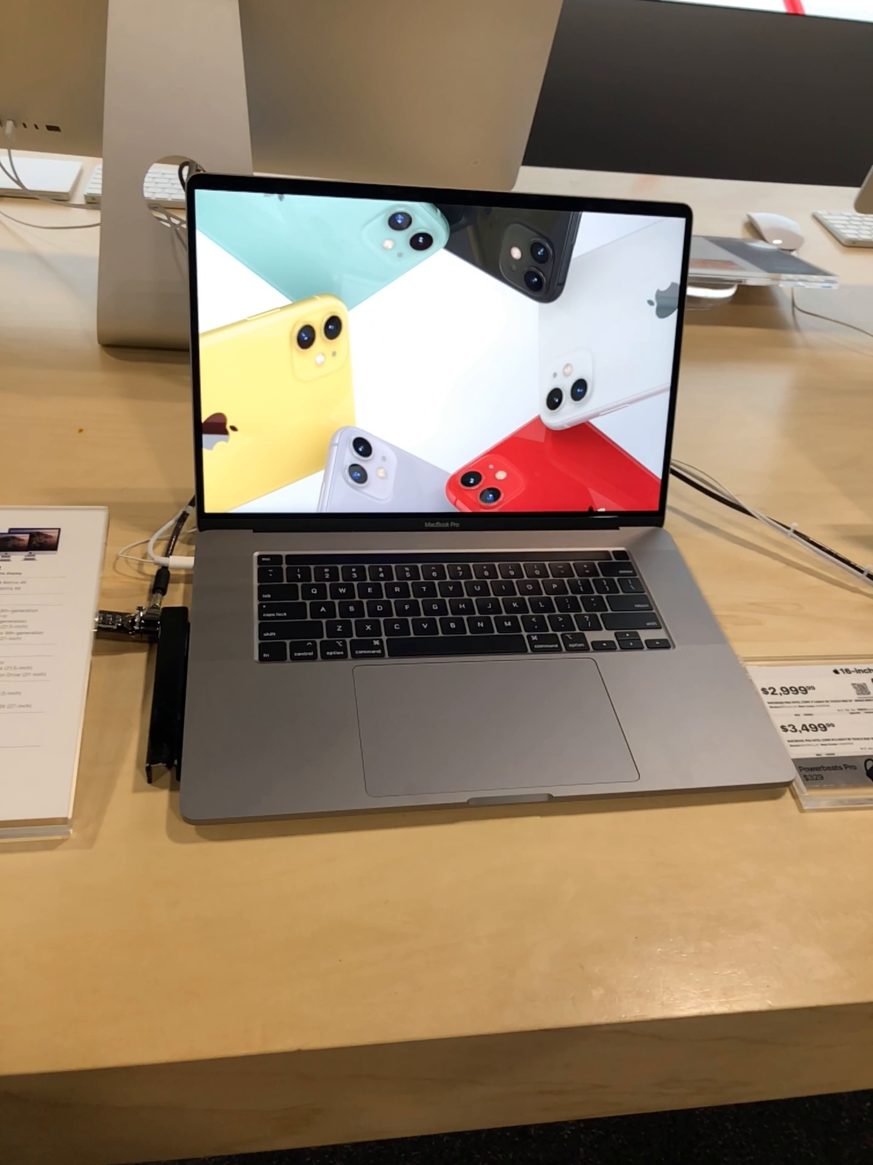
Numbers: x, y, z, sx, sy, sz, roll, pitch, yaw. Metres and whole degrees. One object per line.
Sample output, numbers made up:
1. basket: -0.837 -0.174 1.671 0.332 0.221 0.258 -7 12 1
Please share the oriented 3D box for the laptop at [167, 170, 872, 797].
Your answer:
1. laptop: 0.021 -0.075 0.595 0.335 0.204 0.350 0 42 -9
